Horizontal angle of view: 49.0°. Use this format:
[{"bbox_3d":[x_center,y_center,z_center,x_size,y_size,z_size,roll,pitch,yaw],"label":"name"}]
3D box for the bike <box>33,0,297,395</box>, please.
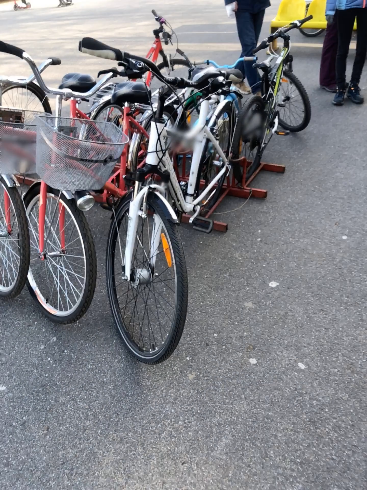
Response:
[{"bbox_3d":[0.148,-0.411,1.866,0.619,1.163,1.609,3,36,13],"label":"bike"}]
